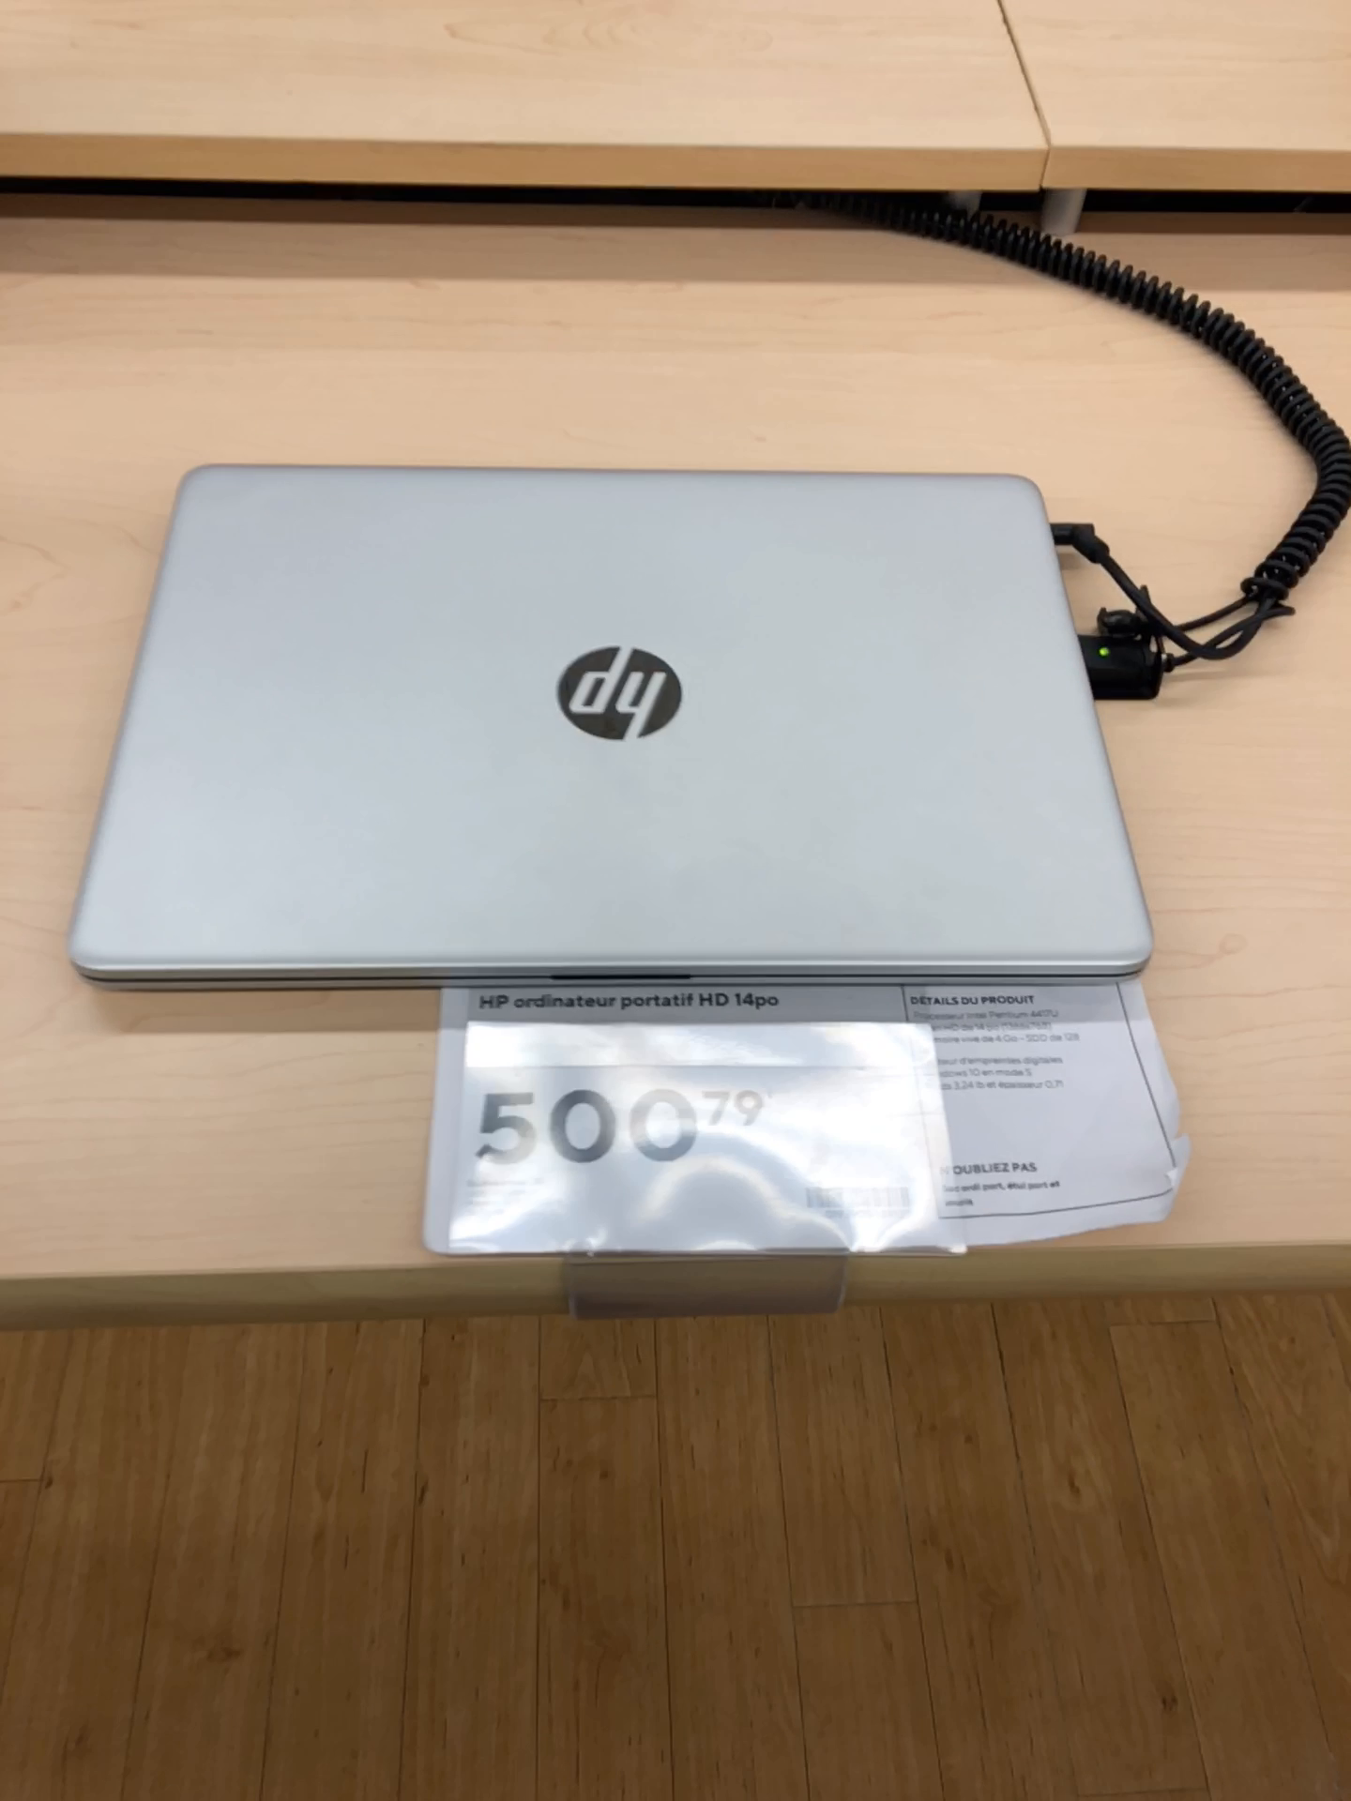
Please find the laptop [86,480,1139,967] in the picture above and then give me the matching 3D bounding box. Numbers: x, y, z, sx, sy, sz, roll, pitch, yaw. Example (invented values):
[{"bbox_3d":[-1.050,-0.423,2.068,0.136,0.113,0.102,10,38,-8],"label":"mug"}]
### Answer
[{"bbox_3d":[-0.017,-0.069,0.492,0.309,0.004,0.206,0,56,-5],"label":"laptop"}]
